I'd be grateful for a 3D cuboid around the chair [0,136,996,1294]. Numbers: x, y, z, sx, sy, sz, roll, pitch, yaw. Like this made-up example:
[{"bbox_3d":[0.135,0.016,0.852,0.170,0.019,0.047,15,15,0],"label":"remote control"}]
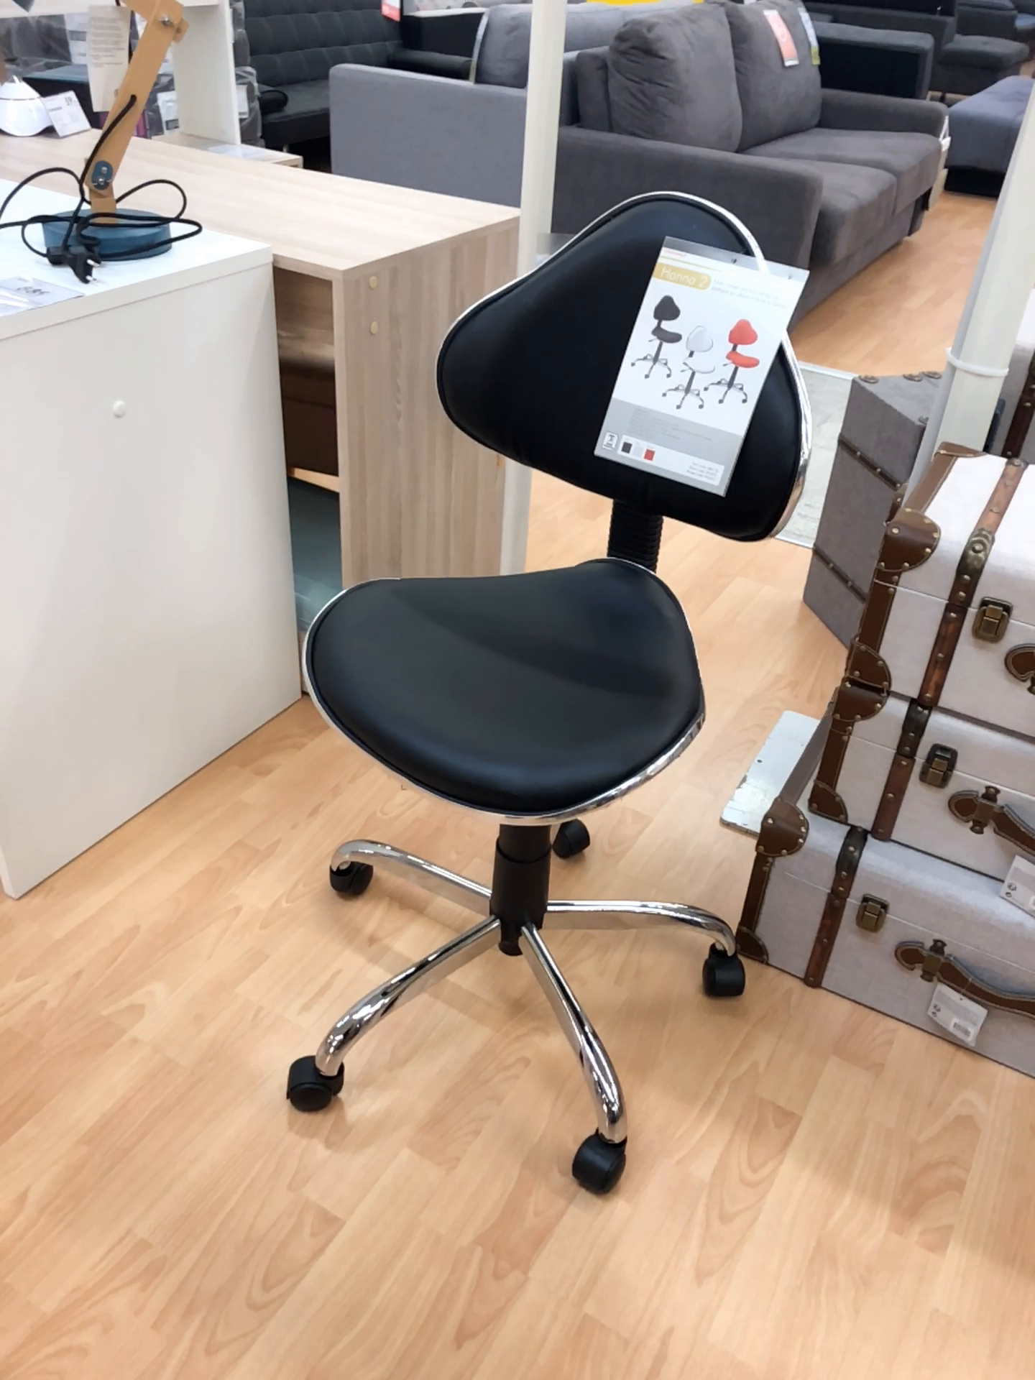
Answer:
[{"bbox_3d":[0.014,-0.021,1.158,0.600,0.855,0.614,18,37,20],"label":"chair"}]
